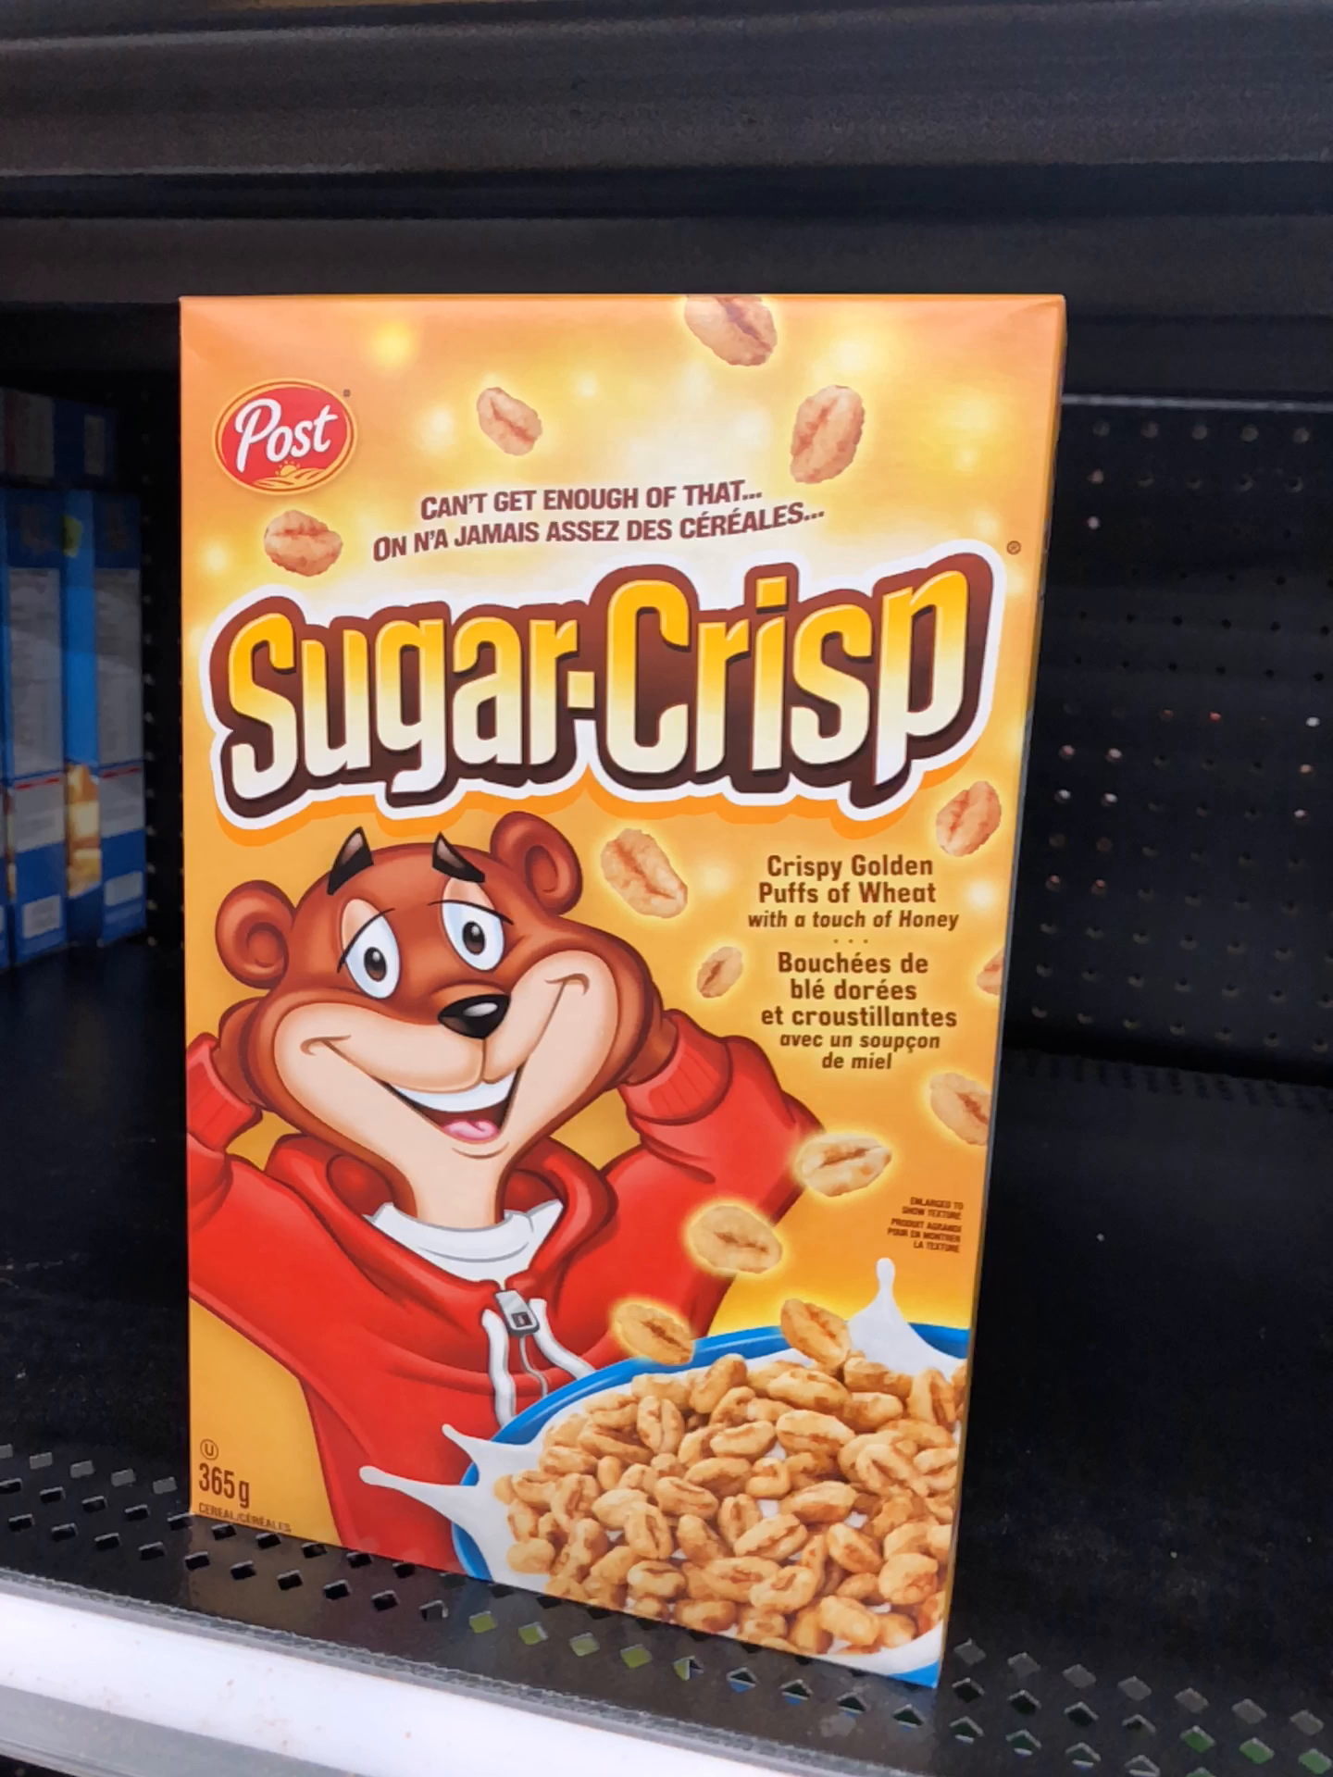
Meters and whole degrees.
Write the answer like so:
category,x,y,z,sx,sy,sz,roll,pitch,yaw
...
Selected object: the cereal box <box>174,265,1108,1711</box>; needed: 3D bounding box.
category,x,y,z,sx,sy,sz,roll,pitch,yaw
cereal box,-0.013,0.019,0.359,0.200,0.309,0.060,6,11,15
